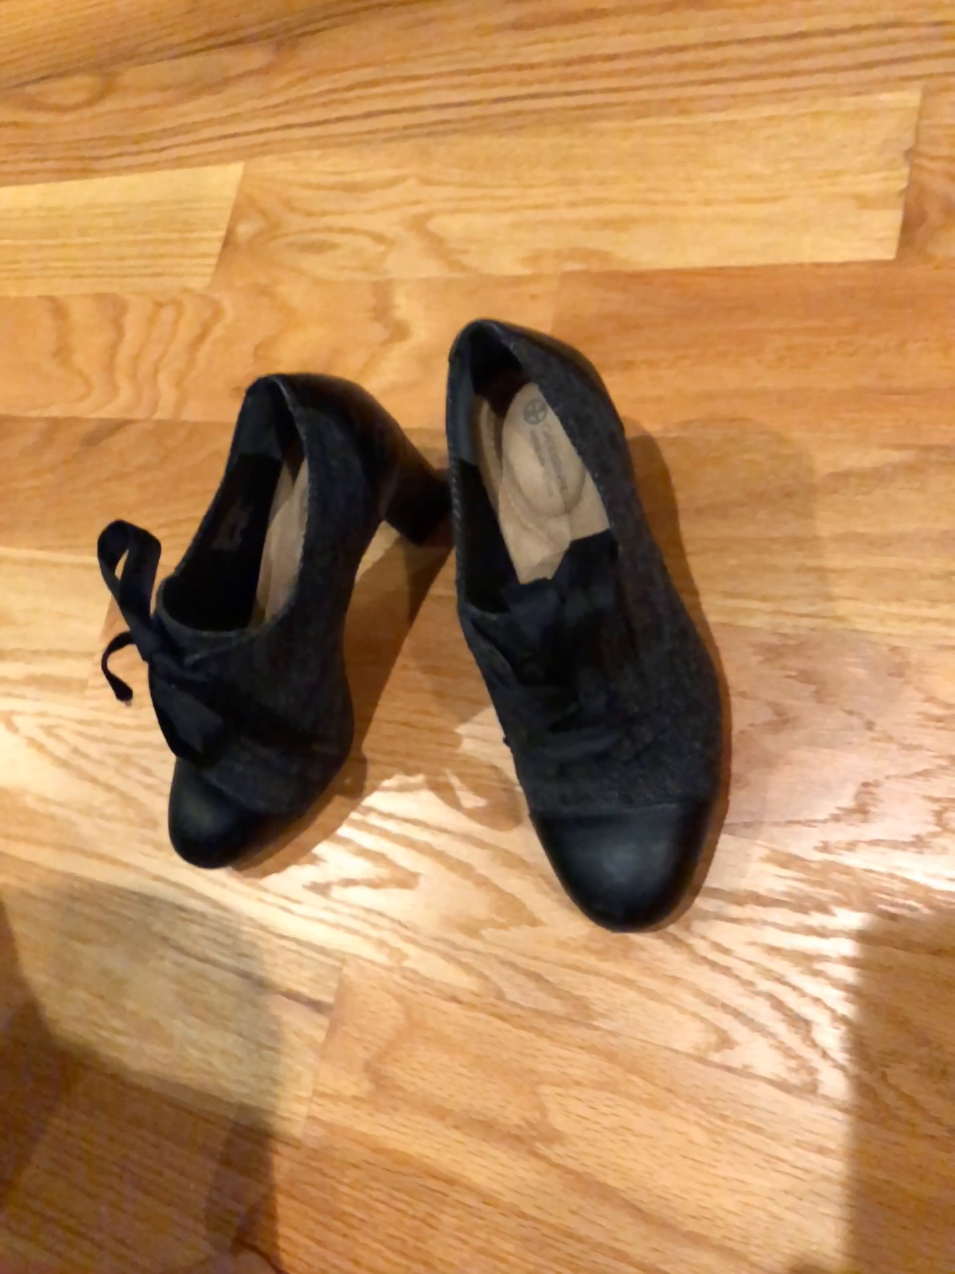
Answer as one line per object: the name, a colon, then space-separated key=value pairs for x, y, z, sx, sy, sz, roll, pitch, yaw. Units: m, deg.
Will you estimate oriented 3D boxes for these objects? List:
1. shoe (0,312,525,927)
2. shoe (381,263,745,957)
shoe: x=-0.096 y=0.001 z=0.456 sx=0.093 sy=0.125 sz=0.223 roll=31 pitch=89 yaw=29
shoe: x=0.035 y=0.003 z=0.395 sx=0.088 sy=0.125 sz=0.223 roll=-8 pitch=72 yaw=23
